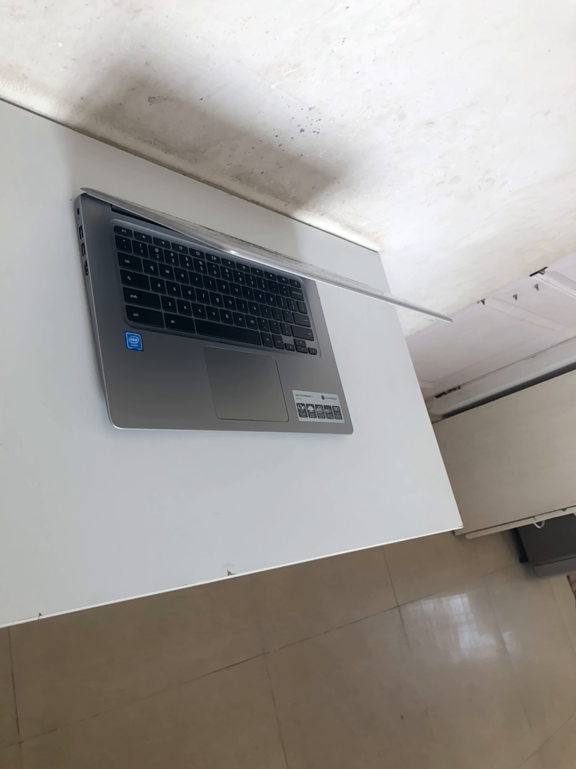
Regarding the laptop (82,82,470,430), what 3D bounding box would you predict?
[{"bbox_3d":[0.001,-0.089,0.621,0.327,0.155,0.221,6,64,-48],"label":"laptop"}]
